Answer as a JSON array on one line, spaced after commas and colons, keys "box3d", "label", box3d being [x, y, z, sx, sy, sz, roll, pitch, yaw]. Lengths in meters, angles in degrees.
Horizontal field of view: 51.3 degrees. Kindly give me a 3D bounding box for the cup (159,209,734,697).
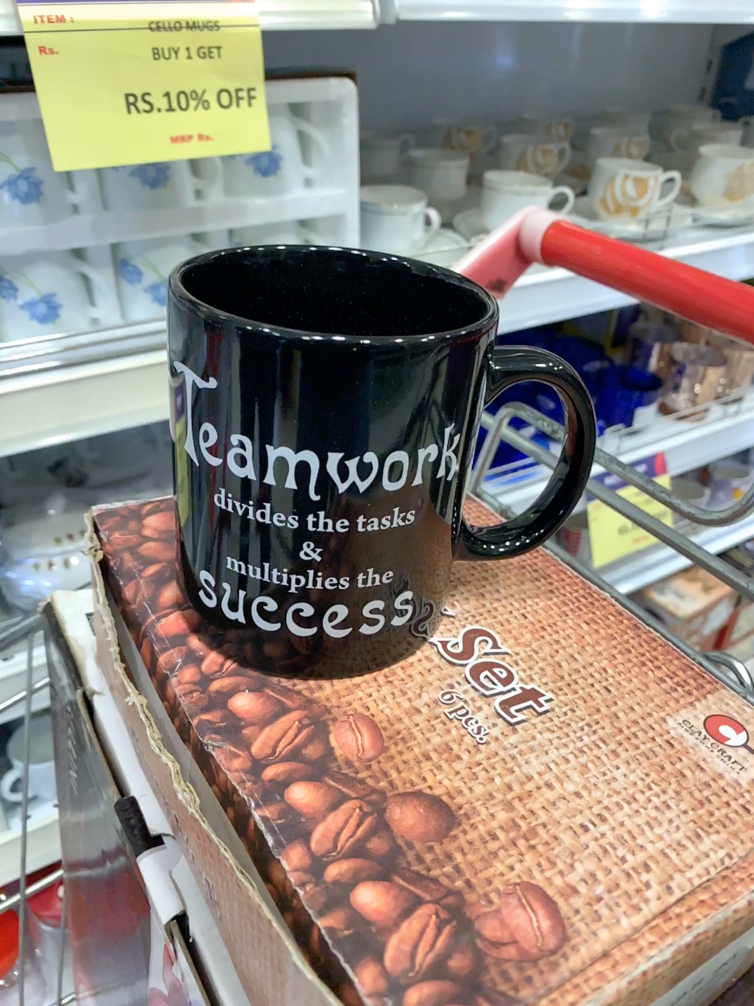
[{"box3d": [0.006, -0.013, 0.219, 0.120, 0.100, 0.080, 4, 34, -9], "label": "cup"}]
